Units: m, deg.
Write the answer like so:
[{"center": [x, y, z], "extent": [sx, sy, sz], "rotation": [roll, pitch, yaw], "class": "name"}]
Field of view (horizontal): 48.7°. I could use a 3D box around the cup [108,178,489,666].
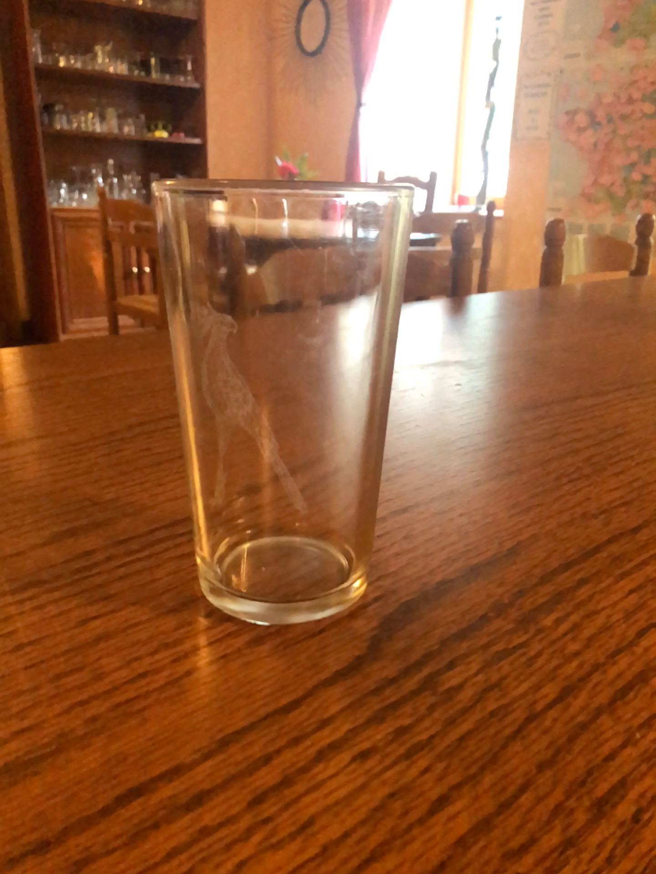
[{"center": [-0.011, -0.017, 0.266], "extent": [0.089, 0.144, 0.092], "rotation": [1, 18, 0], "class": "cup"}]
